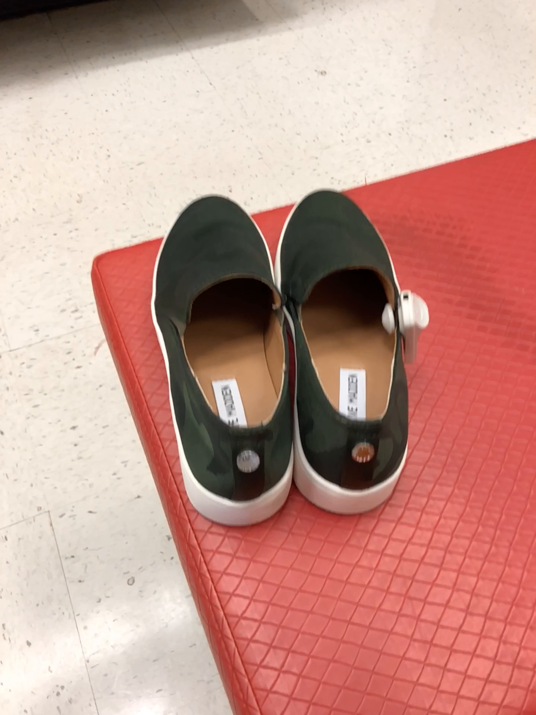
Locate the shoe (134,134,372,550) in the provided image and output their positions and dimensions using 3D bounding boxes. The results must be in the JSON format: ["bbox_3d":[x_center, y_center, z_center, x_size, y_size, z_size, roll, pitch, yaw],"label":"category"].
[{"bbox_3d":[-0.025,-0.028,0.402,0.105,0.086,0.277,-7,55,-7],"label":"shoe"}]

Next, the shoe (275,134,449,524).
[{"bbox_3d":[0.049,-0.035,0.411,0.077,0.086,0.277,0,54,-2],"label":"shoe"}]
